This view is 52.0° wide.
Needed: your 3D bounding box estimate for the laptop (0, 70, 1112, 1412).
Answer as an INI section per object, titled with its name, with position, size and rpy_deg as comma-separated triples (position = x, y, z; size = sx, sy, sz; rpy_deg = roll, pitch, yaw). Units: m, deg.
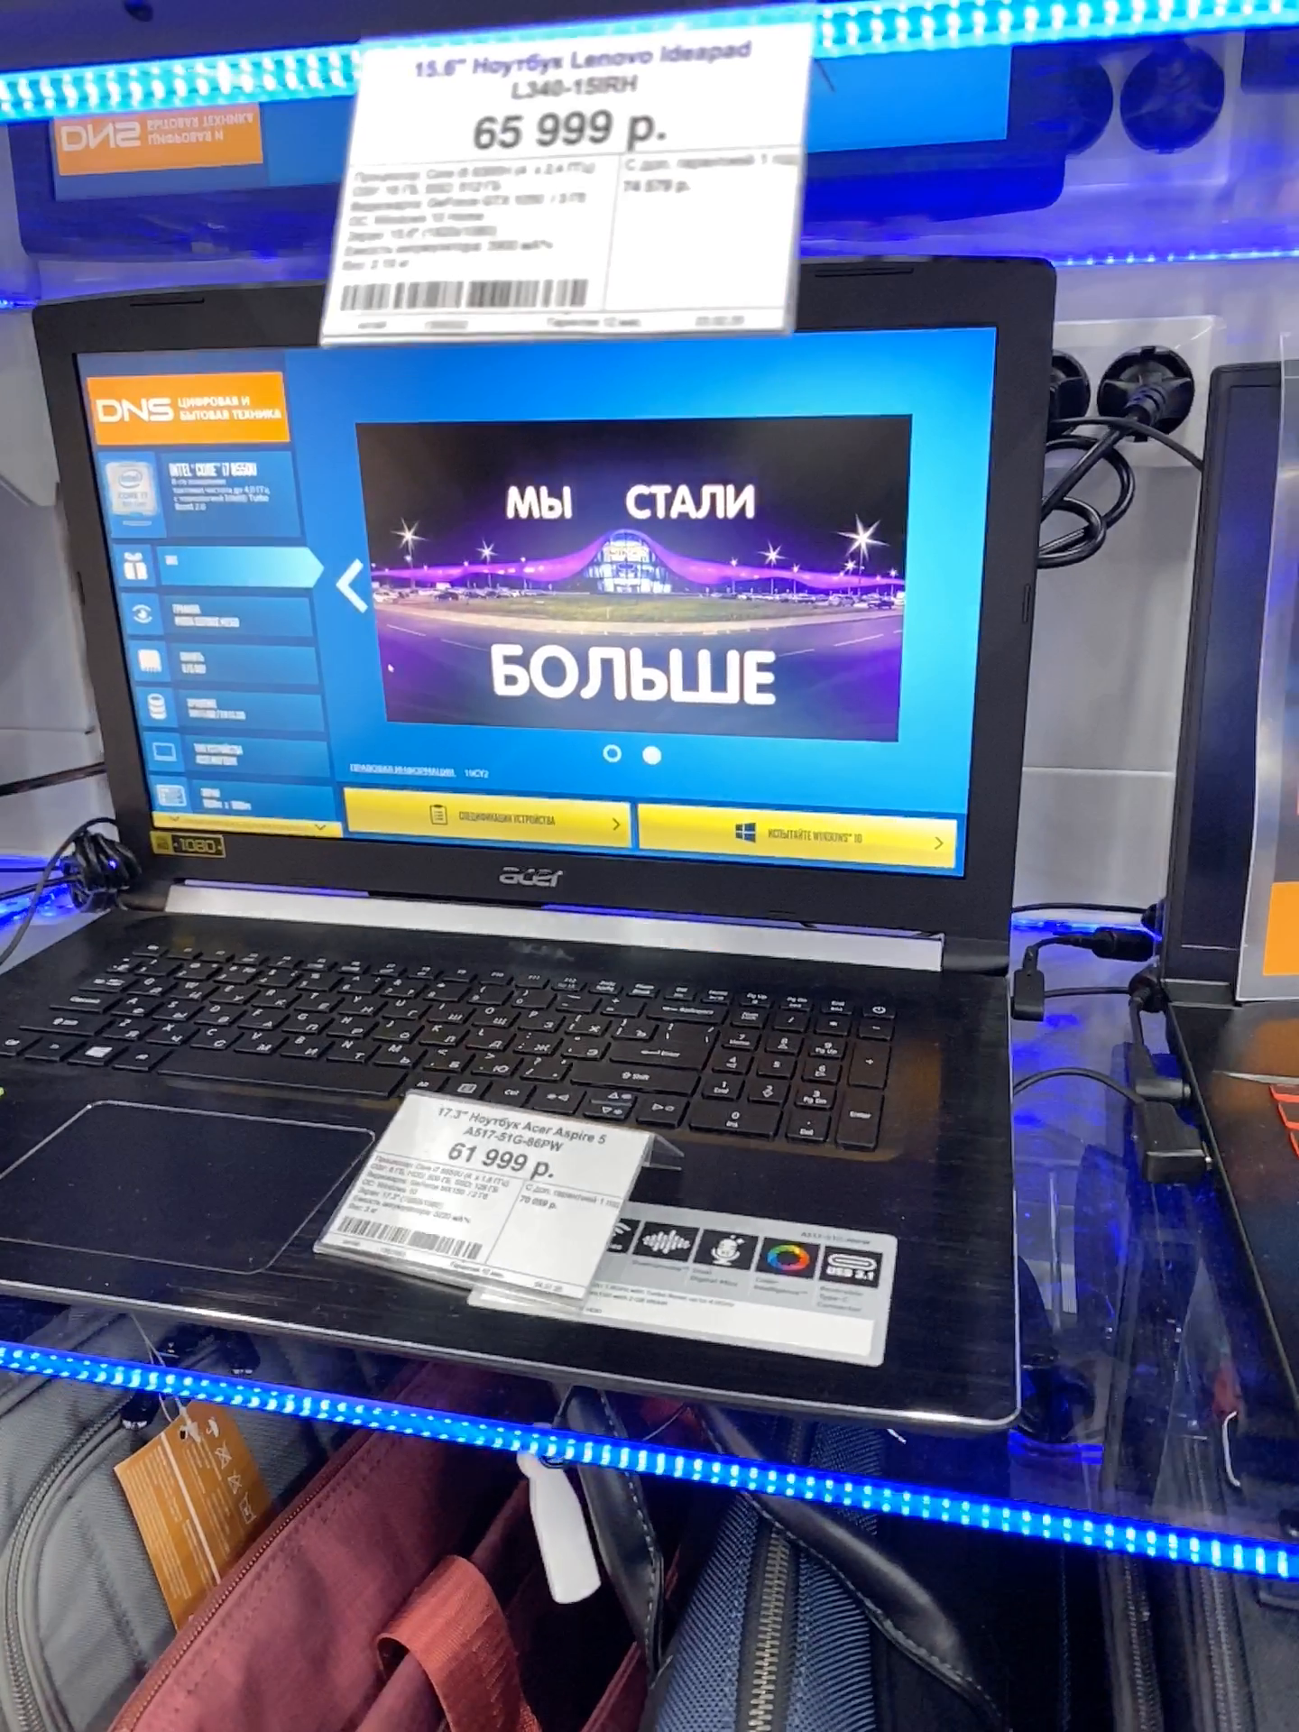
[laptop]
position = -0.091, -0.057, 0.445
size = 0.422, 0.277, 0.273
rpy_deg = 3, 18, 13
